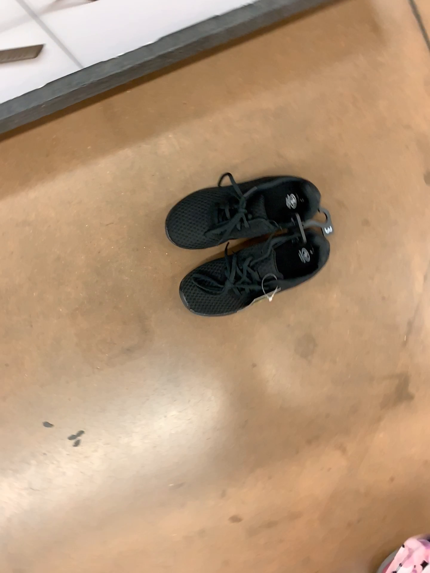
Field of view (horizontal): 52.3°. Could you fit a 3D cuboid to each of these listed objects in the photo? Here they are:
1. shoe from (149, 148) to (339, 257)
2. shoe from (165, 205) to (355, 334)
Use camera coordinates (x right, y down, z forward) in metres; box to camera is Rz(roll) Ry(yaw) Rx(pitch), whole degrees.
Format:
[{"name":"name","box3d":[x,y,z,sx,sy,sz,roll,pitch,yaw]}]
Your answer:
[{"name":"shoe","box3d":[0.037,-0.111,0.602,0.230,0.080,0.090,-12,91,0]},{"name":"shoe","box3d":[0.059,-0.022,0.609,0.230,0.080,0.090,-21,91,0]}]
